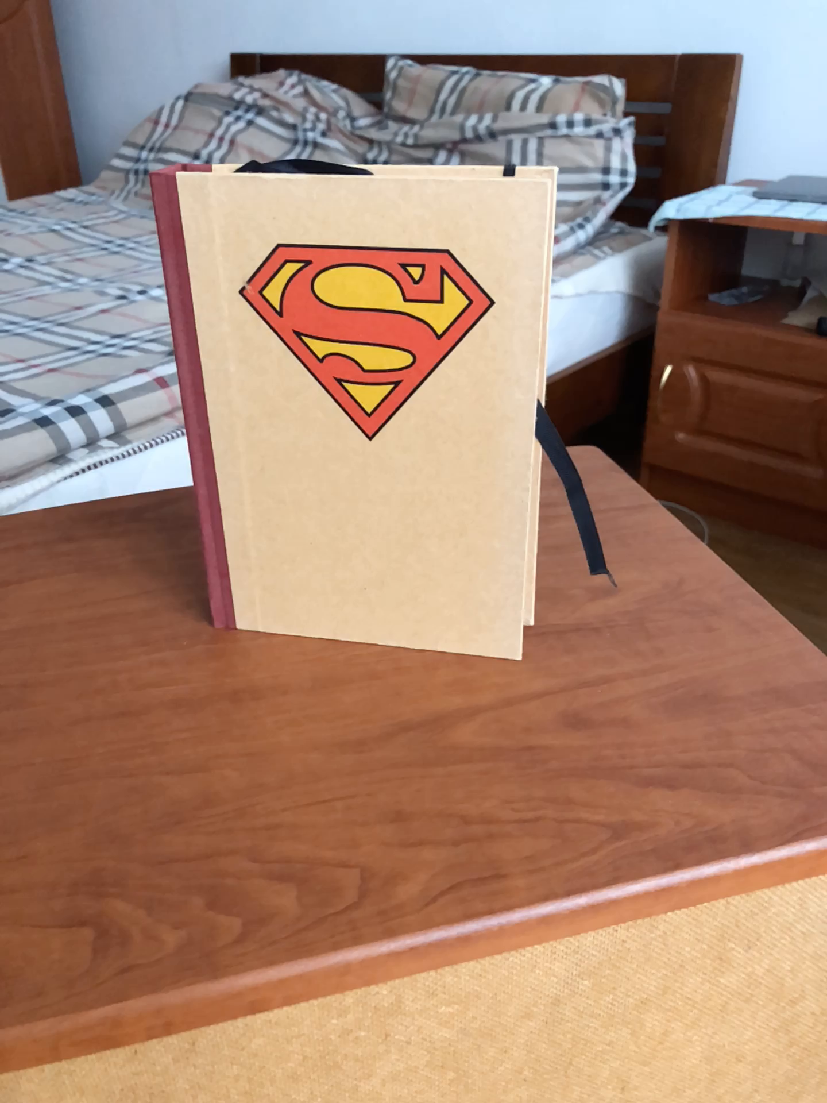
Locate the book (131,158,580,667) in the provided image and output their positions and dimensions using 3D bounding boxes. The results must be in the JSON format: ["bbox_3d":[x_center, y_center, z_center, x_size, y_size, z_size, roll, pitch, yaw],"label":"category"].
[{"bbox_3d":[-0.020,-0.054,0.388,0.162,0.203,0.041,5,29,10],"label":"book"}]
